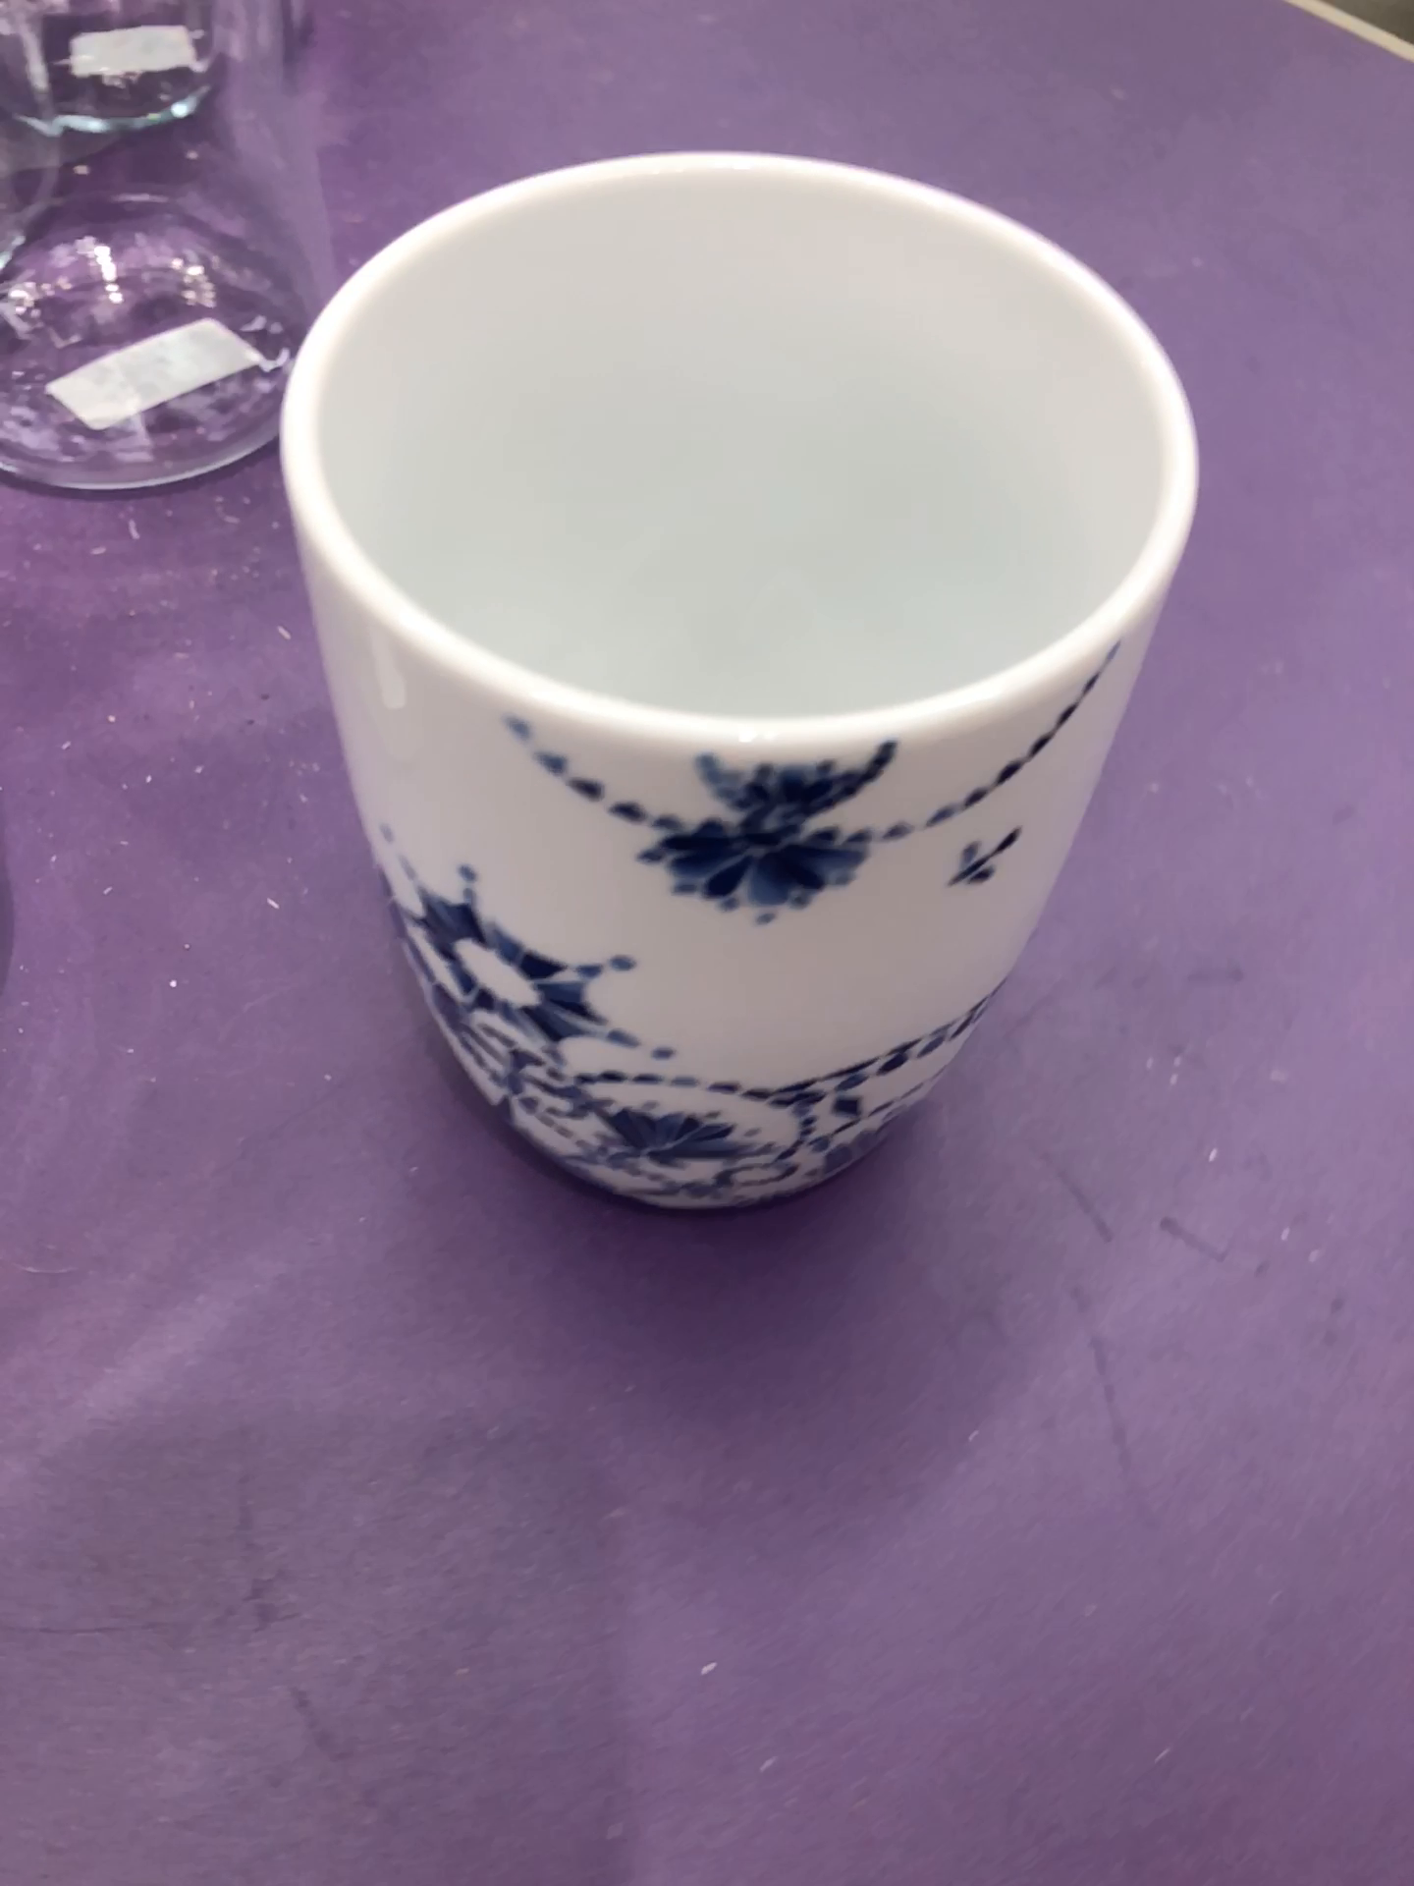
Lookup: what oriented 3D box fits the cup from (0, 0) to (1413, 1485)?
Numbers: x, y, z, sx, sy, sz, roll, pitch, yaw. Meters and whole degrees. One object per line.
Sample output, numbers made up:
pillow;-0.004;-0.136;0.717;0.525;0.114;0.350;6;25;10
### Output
cup;0.001;-0.031;0.215;0.100;0.119;0.140;29;58;16
